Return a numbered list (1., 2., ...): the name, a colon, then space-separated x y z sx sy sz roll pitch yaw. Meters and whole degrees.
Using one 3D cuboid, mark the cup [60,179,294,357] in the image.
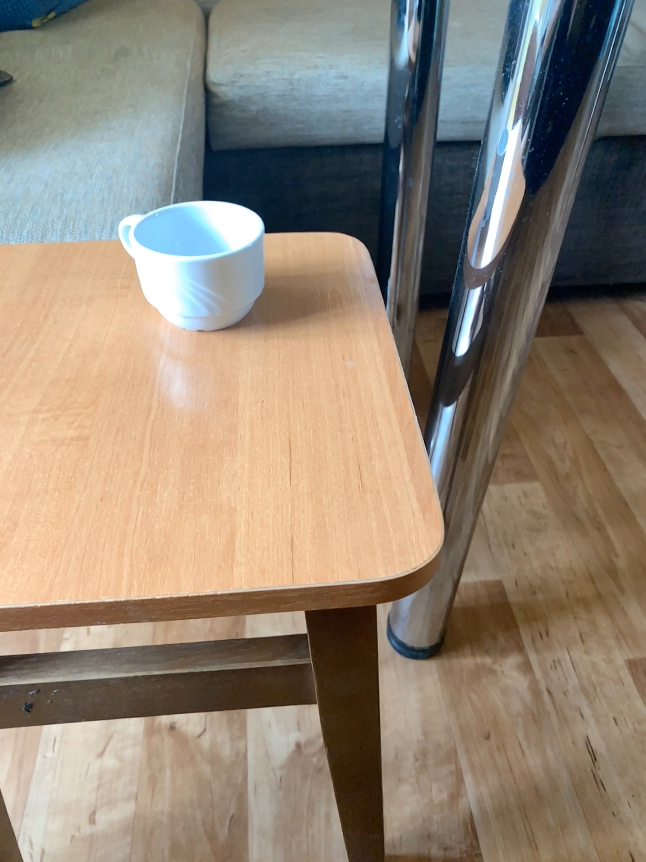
1. cup: -0.082 -0.099 0.389 0.100 0.050 0.080 24 47 26
